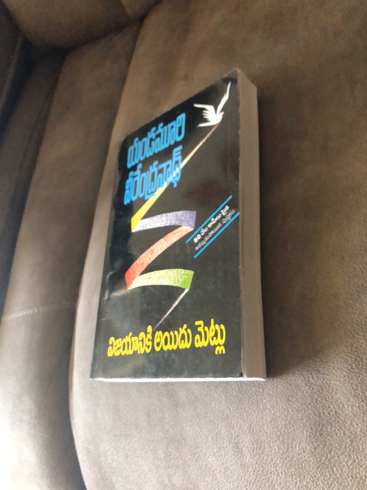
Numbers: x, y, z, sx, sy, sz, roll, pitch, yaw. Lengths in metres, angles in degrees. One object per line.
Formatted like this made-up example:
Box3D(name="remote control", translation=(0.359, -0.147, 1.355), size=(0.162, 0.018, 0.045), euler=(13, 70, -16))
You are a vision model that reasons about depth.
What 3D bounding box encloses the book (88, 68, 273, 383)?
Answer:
Box3D(name="book", translation=(-0.007, -0.008, 0.311), size=(0.144, 0.026, 0.212), euler=(-17, 62, 40))
